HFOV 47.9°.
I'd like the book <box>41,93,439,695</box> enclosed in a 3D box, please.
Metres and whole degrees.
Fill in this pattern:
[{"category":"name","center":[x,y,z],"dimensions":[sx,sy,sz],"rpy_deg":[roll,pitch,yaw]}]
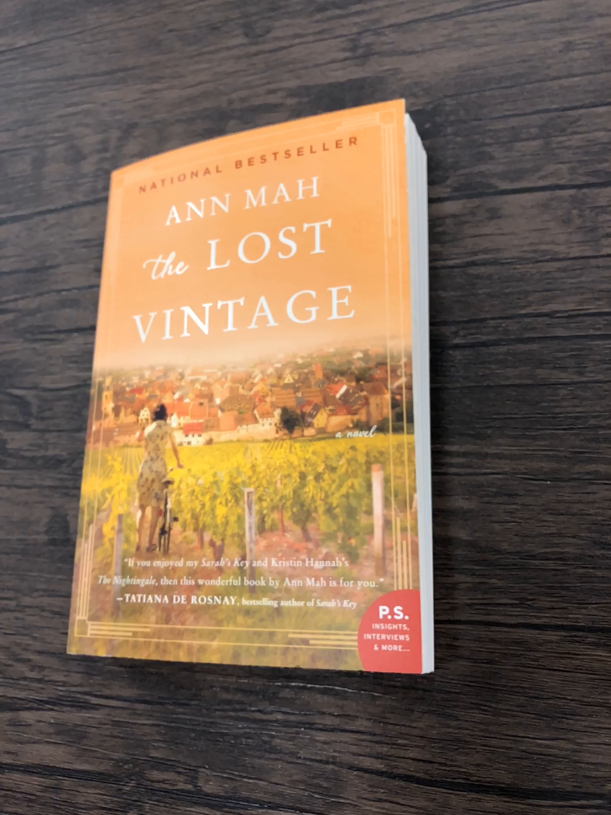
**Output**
[{"category":"book","center":[-0.023,-0.005,0.262],"dimensions":[0.134,0.040,0.200],"rpy_deg":[-4,76,20]}]
